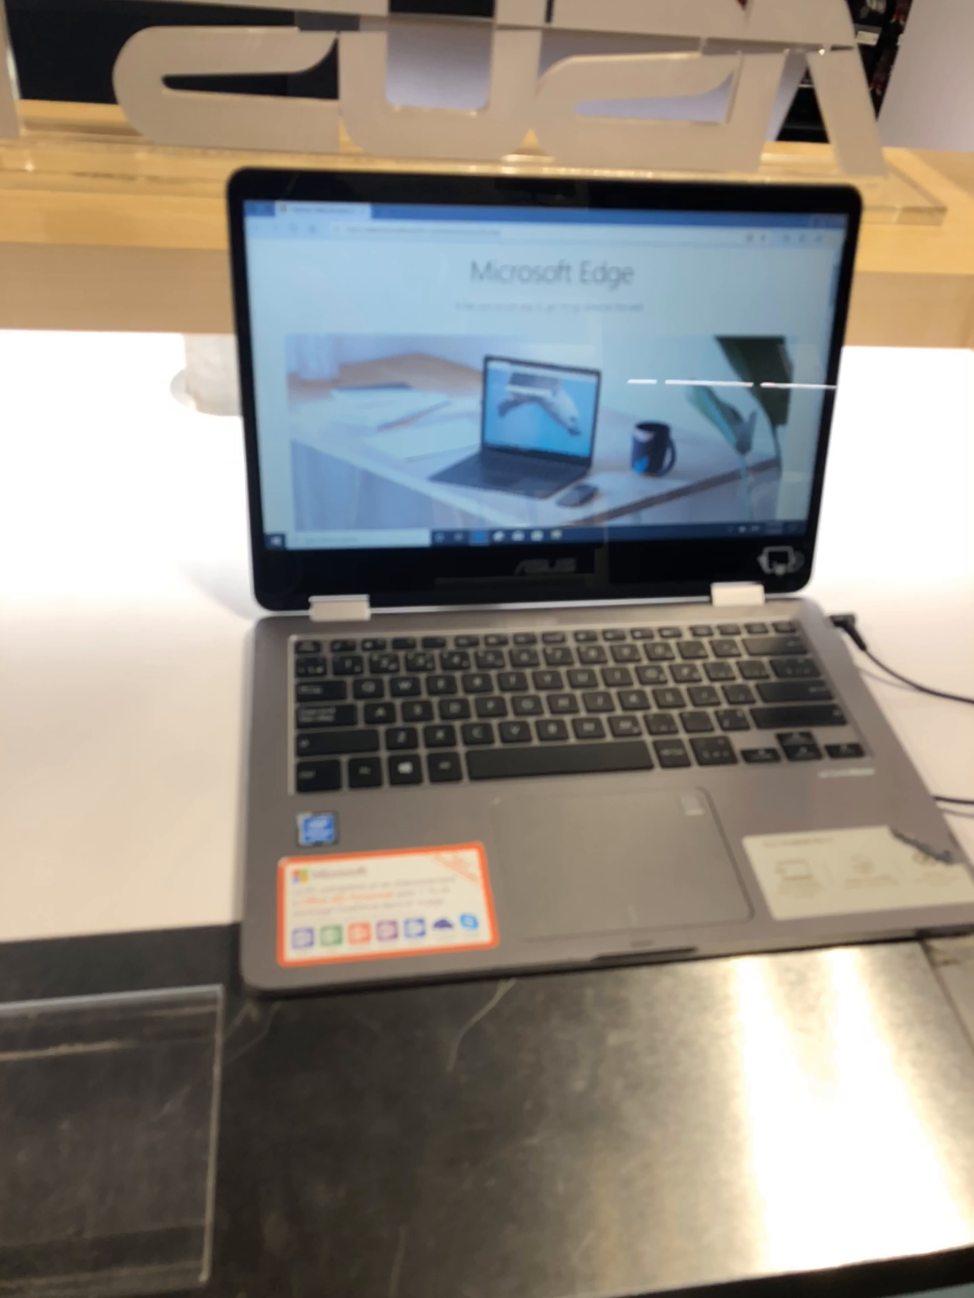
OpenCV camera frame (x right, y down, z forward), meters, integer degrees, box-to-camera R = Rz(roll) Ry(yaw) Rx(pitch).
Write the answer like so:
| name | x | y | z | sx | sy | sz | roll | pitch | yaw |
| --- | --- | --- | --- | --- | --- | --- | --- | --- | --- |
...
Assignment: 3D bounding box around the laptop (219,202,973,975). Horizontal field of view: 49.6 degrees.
| name | x | y | z | sx | sy | sz | roll | pitch | yaw |
| --- | --- | --- | --- | --- | --- | --- | --- | --- | --- |
| laptop | 0.055 | -0.047 | 0.460 | 0.304 | 0.212 | 0.279 | -2 | 39 | -8 |
